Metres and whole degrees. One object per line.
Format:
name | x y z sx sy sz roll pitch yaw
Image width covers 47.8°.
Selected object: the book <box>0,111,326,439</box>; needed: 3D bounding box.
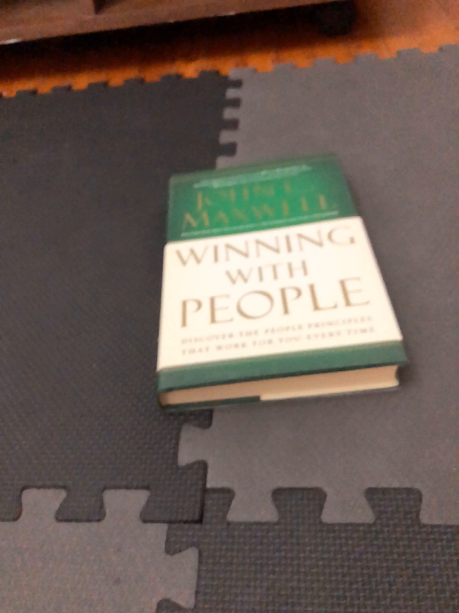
book | -0.048 -0.048 0.381 0.200 0.030 0.292 -5 47 6
